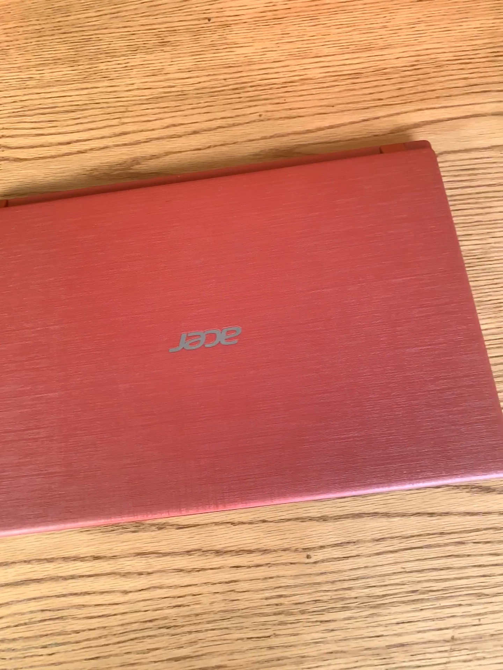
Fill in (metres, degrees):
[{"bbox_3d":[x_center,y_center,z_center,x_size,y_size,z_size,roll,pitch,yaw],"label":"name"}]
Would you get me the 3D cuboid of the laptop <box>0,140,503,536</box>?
[{"bbox_3d":[-0.034,-0.004,0.361,0.362,0.013,0.236,-7,75,4],"label":"laptop"}]
